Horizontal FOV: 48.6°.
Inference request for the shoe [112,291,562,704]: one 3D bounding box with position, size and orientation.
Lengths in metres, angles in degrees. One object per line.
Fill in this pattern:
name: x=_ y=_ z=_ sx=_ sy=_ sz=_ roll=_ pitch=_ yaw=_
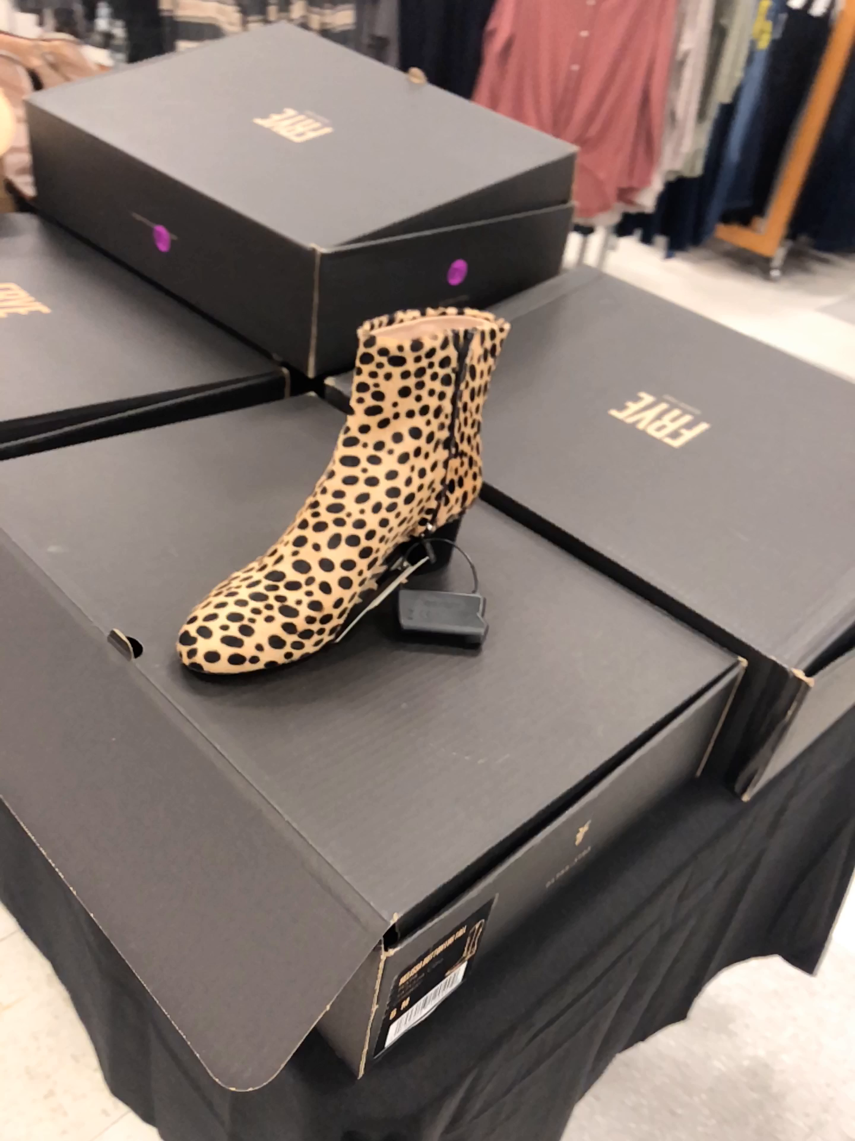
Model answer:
shoe: x=-0.049 y=-0.056 z=0.573 sx=0.249 sy=0.164 sz=0.093 roll=-24 pitch=47 yaw=-39
